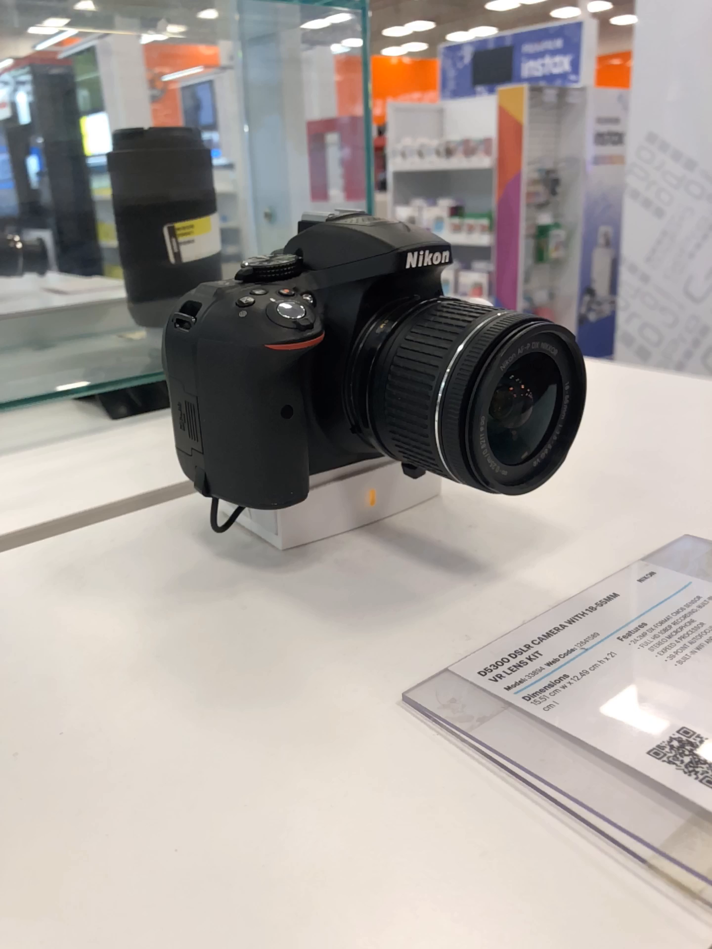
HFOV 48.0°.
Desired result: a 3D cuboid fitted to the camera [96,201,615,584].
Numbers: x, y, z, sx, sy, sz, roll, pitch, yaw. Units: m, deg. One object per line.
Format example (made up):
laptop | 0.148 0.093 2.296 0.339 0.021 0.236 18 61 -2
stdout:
camera | -0.002 -0.048 0.307 0.130 0.100 0.140 -19 25 -36
